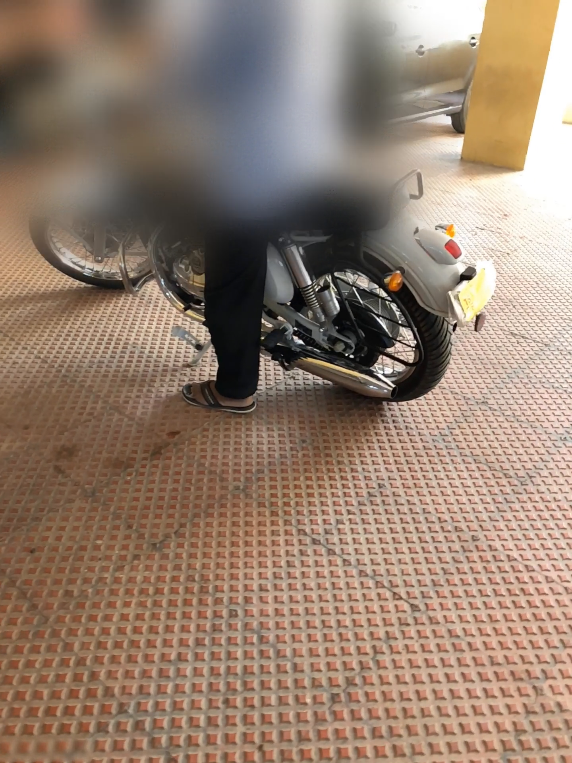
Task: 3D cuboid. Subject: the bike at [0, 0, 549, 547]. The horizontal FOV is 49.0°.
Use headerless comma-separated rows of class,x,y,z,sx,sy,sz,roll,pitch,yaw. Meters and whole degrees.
bike,-0.405,-0.548,2.050,1.898,1.233,0.849,20,36,26
